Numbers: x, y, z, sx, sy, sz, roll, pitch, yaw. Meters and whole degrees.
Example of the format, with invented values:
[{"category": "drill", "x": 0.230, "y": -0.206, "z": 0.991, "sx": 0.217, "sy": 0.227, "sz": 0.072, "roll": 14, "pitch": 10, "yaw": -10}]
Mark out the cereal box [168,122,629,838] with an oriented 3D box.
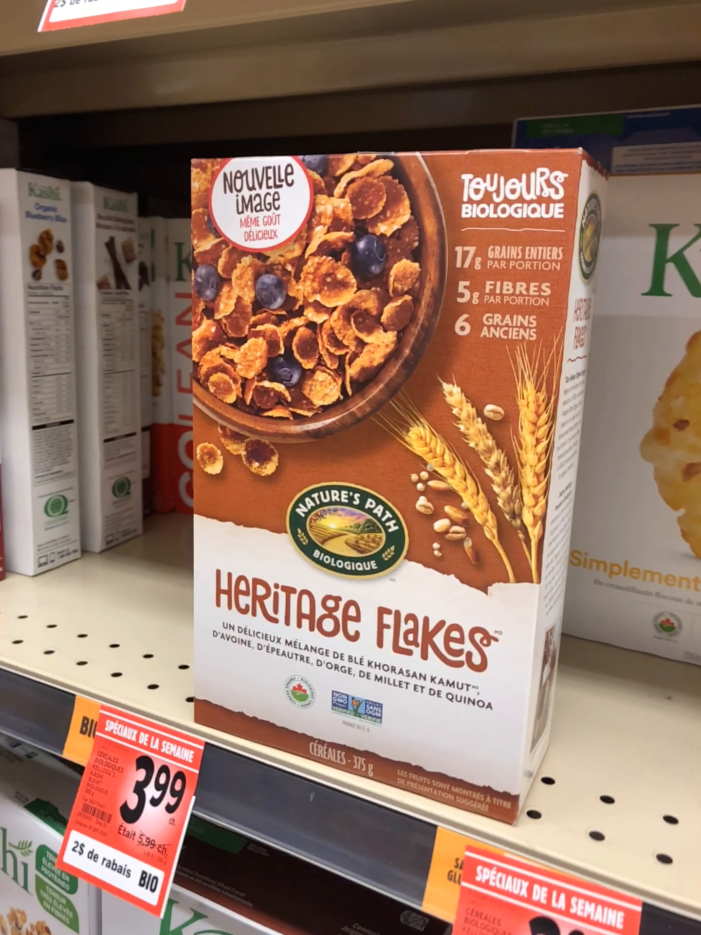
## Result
[{"category": "cereal box", "x": 0.014, "y": -0.001, "z": 0.339, "sx": 0.170, "sy": 0.259, "sz": 0.070, "roll": 8, "pitch": 15, "yaw": 25}]
